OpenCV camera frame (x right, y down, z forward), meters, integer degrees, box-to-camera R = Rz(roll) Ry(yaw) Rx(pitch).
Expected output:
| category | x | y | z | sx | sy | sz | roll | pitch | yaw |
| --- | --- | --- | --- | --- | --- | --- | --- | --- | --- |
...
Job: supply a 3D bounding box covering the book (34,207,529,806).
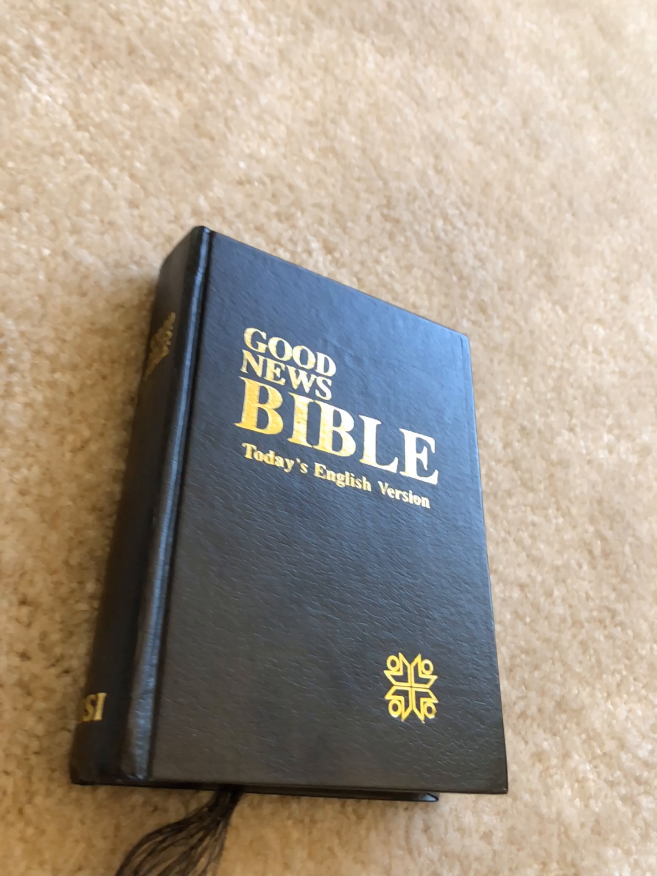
| category | x | y | z | sx | sy | sz | roll | pitch | yaw |
| --- | --- | --- | --- | --- | --- | --- | --- | --- | --- |
| book | -0.006 | 0.023 | 0.230 | 0.124 | 0.040 | 0.160 | 17 | 58 | -26 |
